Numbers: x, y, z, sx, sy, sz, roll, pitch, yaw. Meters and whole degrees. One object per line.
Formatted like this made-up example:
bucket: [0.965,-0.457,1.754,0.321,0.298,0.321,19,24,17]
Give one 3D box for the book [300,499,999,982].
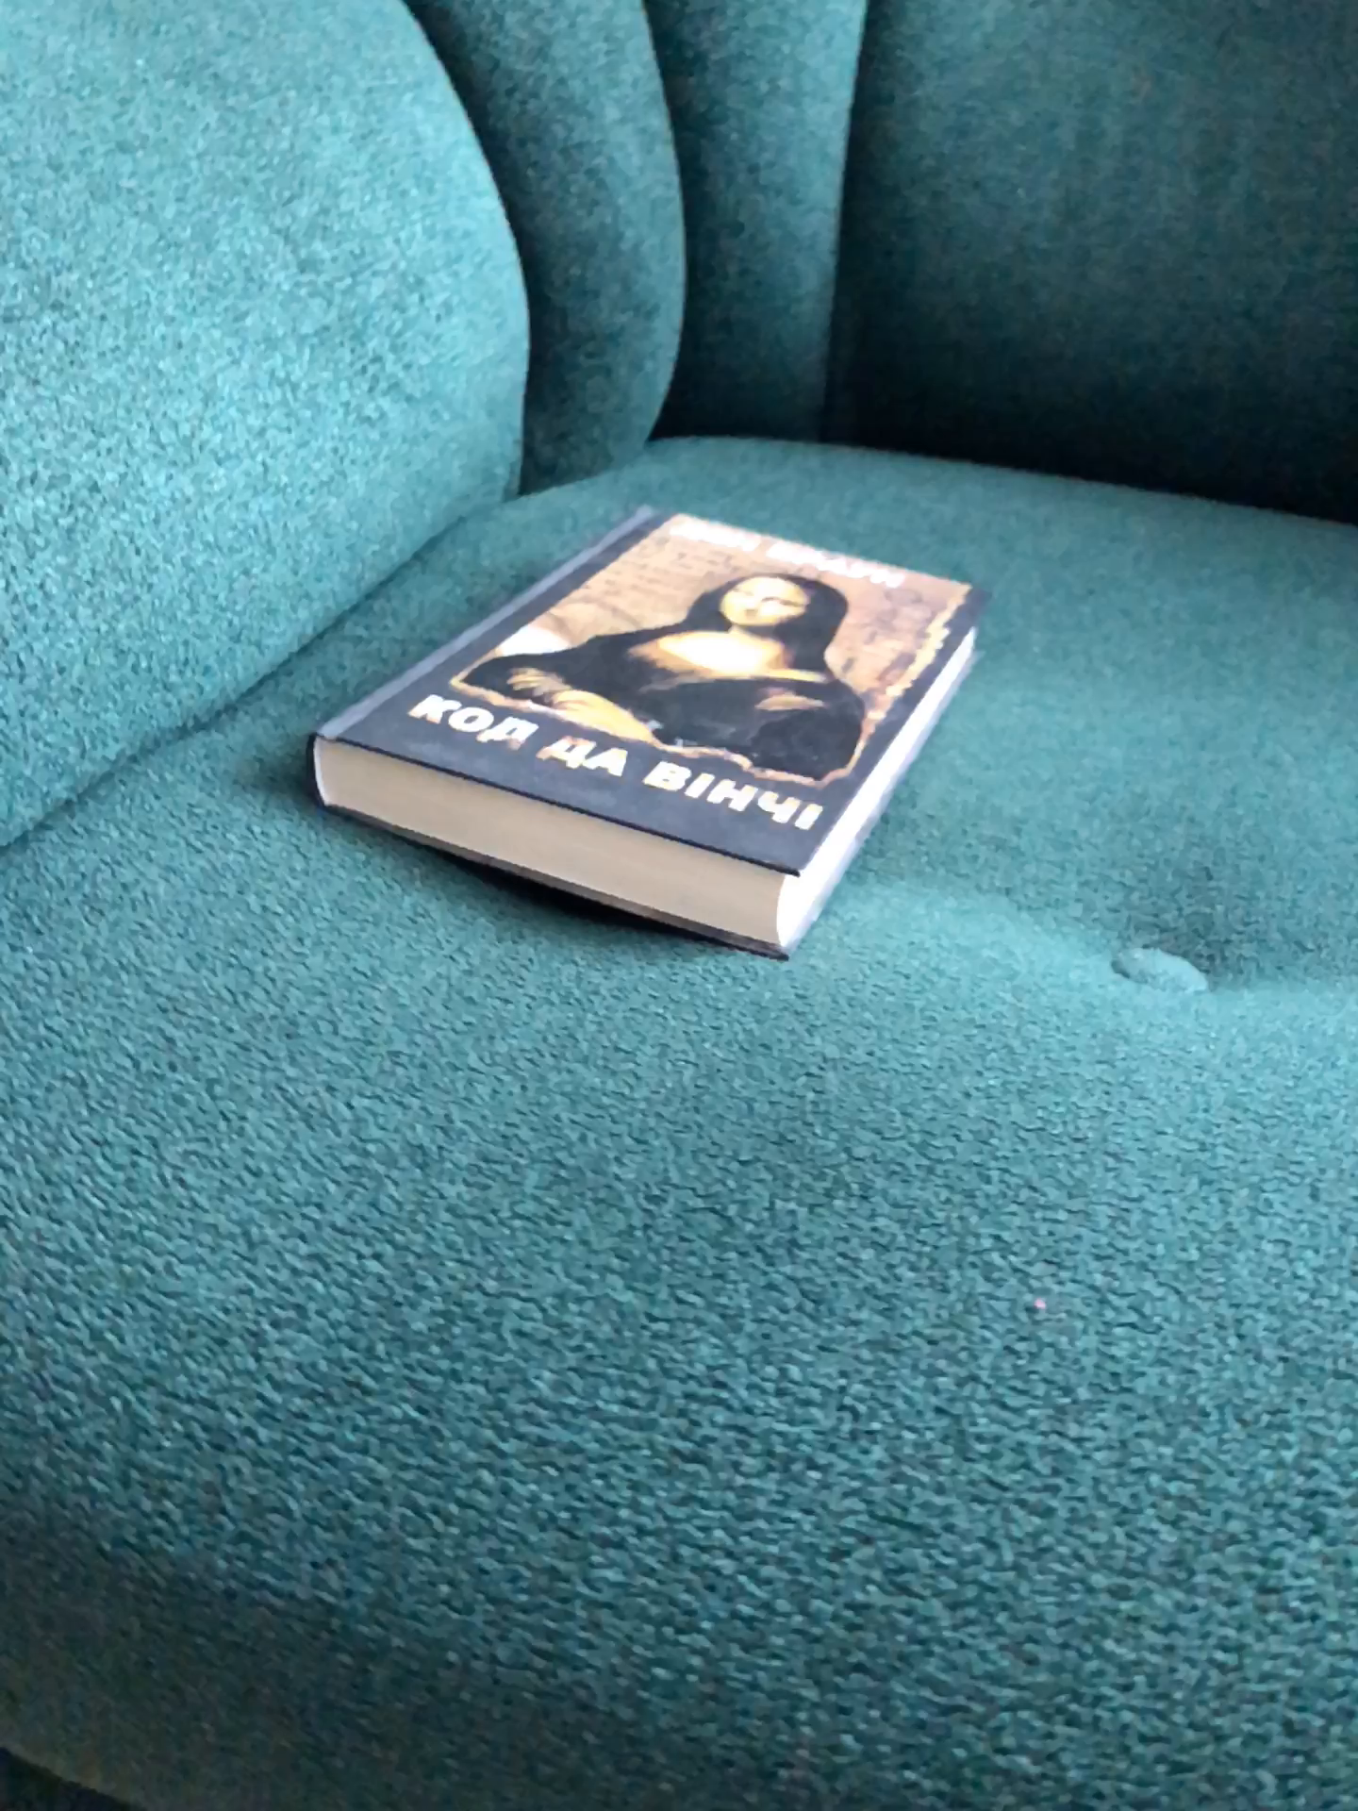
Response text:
book: [0.005,-0.065,0.452,0.135,0.030,0.211,17,35,16]
